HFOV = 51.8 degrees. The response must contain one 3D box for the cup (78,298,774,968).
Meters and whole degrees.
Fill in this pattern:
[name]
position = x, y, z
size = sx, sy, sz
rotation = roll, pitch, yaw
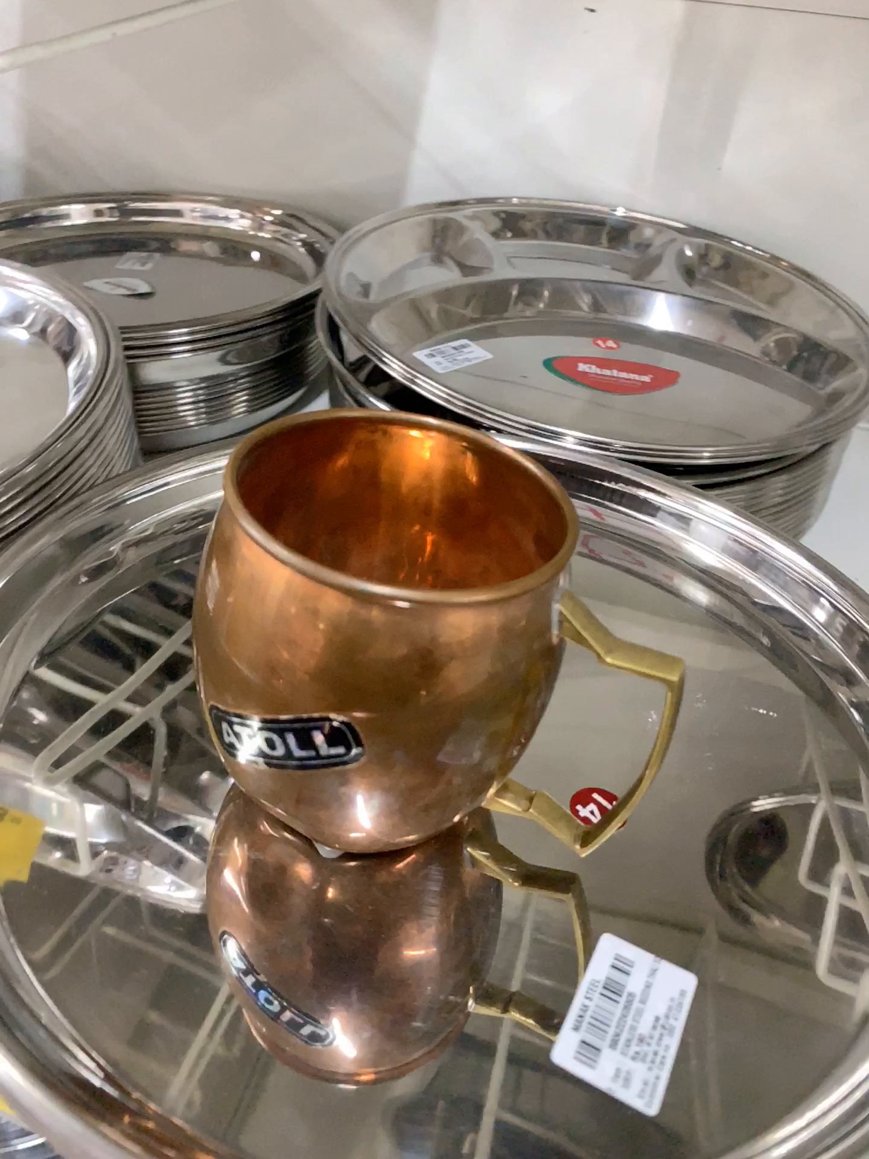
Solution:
[cup]
position = 0.000, 0.005, 0.216
size = 0.120, 0.090, 0.090
rotation = 21, 41, 15
